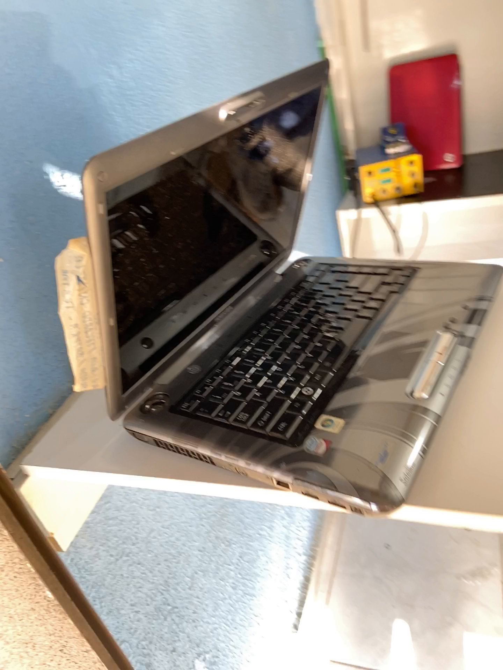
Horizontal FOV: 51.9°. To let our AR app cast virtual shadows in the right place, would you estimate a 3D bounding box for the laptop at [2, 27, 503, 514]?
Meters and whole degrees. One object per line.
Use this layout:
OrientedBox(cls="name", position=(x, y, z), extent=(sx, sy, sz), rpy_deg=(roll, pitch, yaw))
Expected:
OrientedBox(cls="laptop", position=(0.052, -0.093, 0.469), extent=(0.258, 0.235, 0.360), rpy_deg=(7, 37, 34))
